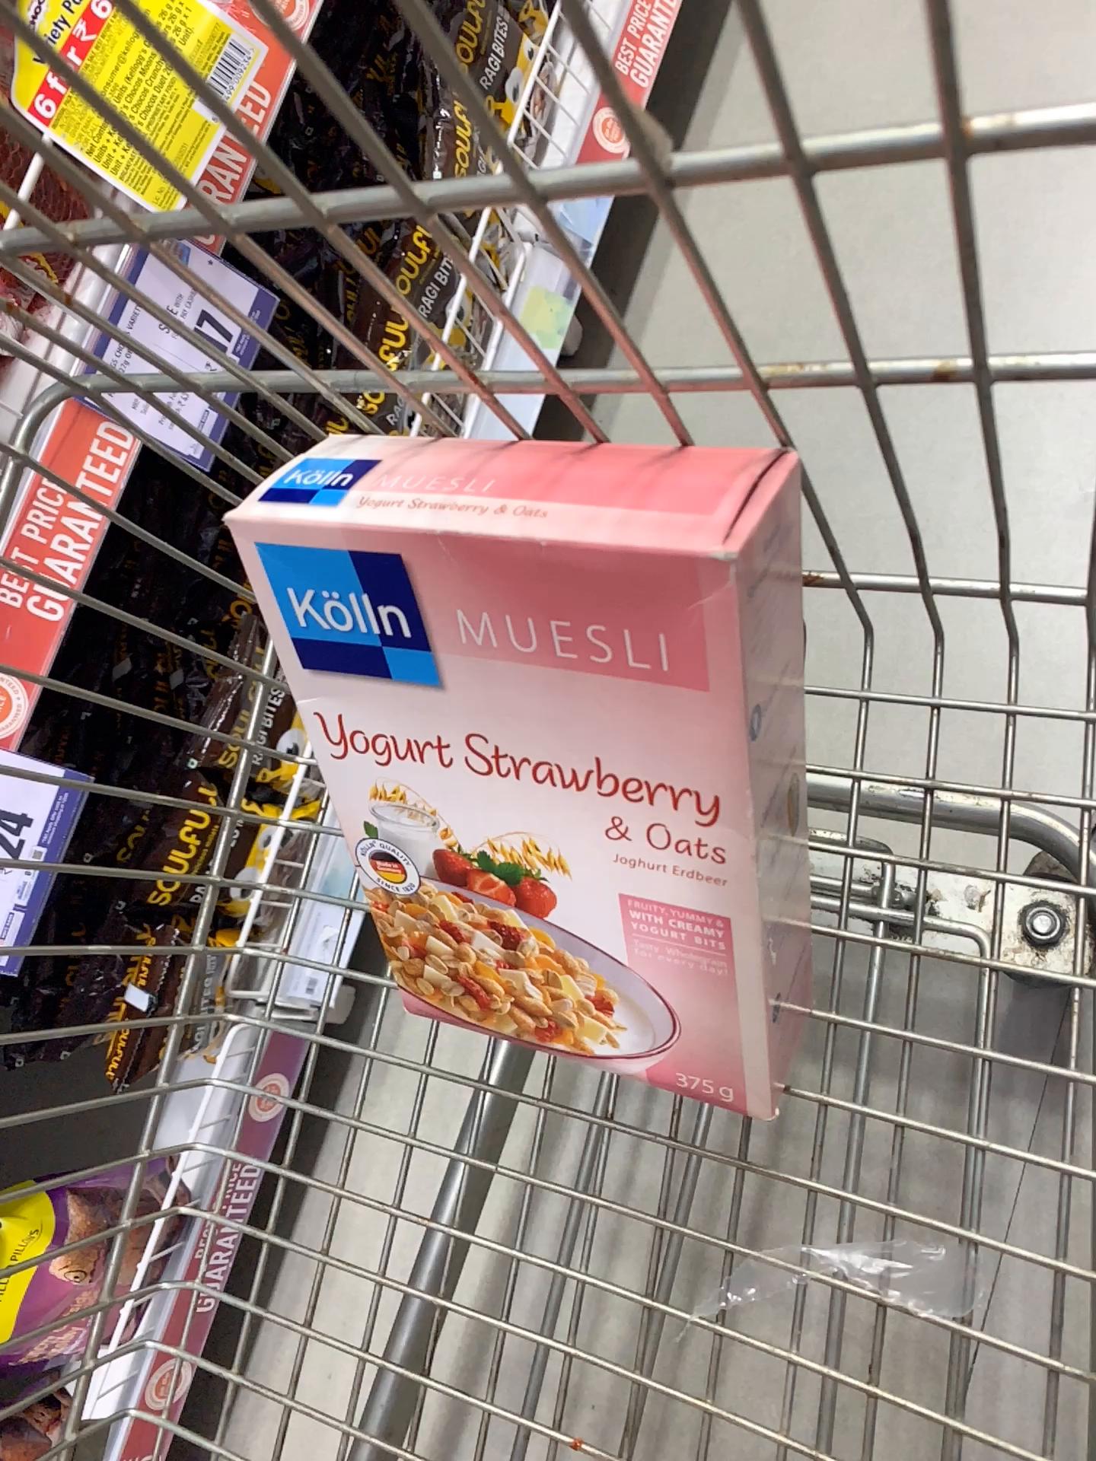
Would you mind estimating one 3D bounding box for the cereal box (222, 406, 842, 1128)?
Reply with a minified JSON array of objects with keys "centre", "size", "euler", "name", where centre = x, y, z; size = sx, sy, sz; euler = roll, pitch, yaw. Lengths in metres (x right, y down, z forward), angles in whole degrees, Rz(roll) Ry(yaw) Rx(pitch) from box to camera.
[{"centre":[0.008,0.016,0.348],"size":[0.150,0.220,0.050],"euler":[8,40,26],"name":"cereal box"}]
